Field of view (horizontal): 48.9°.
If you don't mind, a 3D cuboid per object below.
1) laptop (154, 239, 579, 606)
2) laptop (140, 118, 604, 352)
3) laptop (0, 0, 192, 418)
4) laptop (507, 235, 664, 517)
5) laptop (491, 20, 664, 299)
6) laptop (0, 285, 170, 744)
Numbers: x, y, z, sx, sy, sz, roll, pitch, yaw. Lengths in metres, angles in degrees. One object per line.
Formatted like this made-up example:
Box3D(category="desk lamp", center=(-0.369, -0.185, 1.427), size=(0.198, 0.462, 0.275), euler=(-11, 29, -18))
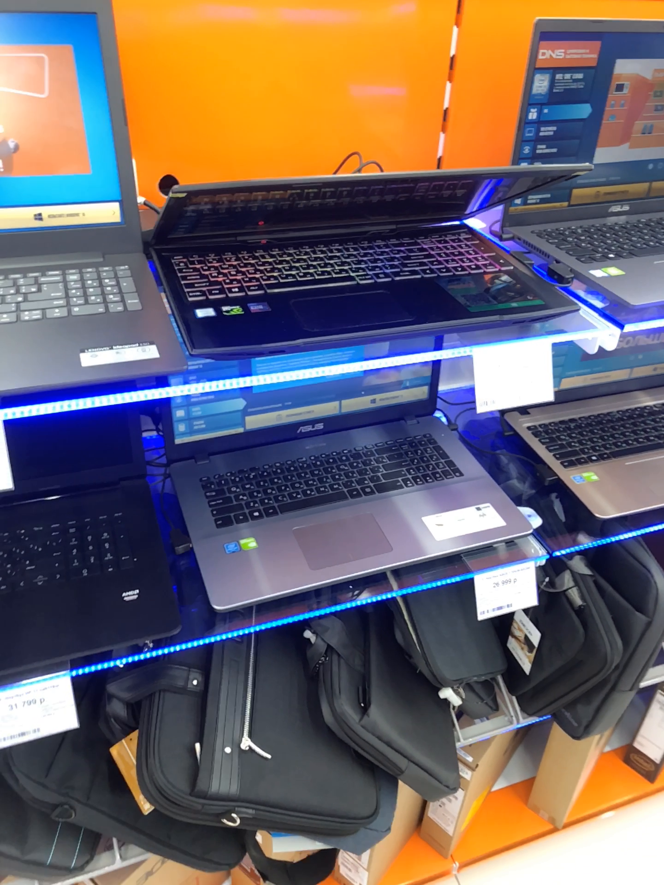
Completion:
Box3D(category="laptop", center=(0.020, -0.048, 0.874), size=(0.394, 0.256, 0.288), euler=(-10, 38, -18))
Box3D(category="laptop", center=(0.023, -0.218, 0.702), size=(0.364, 0.121, 0.244), euler=(-9, 37, -18))
Box3D(category="laptop", center=(-0.338, -0.219, 0.579), size=(0.359, 0.228, 0.319), euler=(-9, 36, -19))
Box3D(category="laptop", center=(0.475, -0.102, 0.980), size=(0.359, 0.240, 0.230), euler=(-10, 37, -17))
Box3D(category="laptop", center=(0.419, -0.326, 0.803), size=(0.352, 0.216, 0.231), euler=(-13, 38, -20))
Box3D(category="laptop", center=(-0.393, 0.040, 0.712), size=(0.406, 0.270, 0.274), euler=(-9, 35, -18))
